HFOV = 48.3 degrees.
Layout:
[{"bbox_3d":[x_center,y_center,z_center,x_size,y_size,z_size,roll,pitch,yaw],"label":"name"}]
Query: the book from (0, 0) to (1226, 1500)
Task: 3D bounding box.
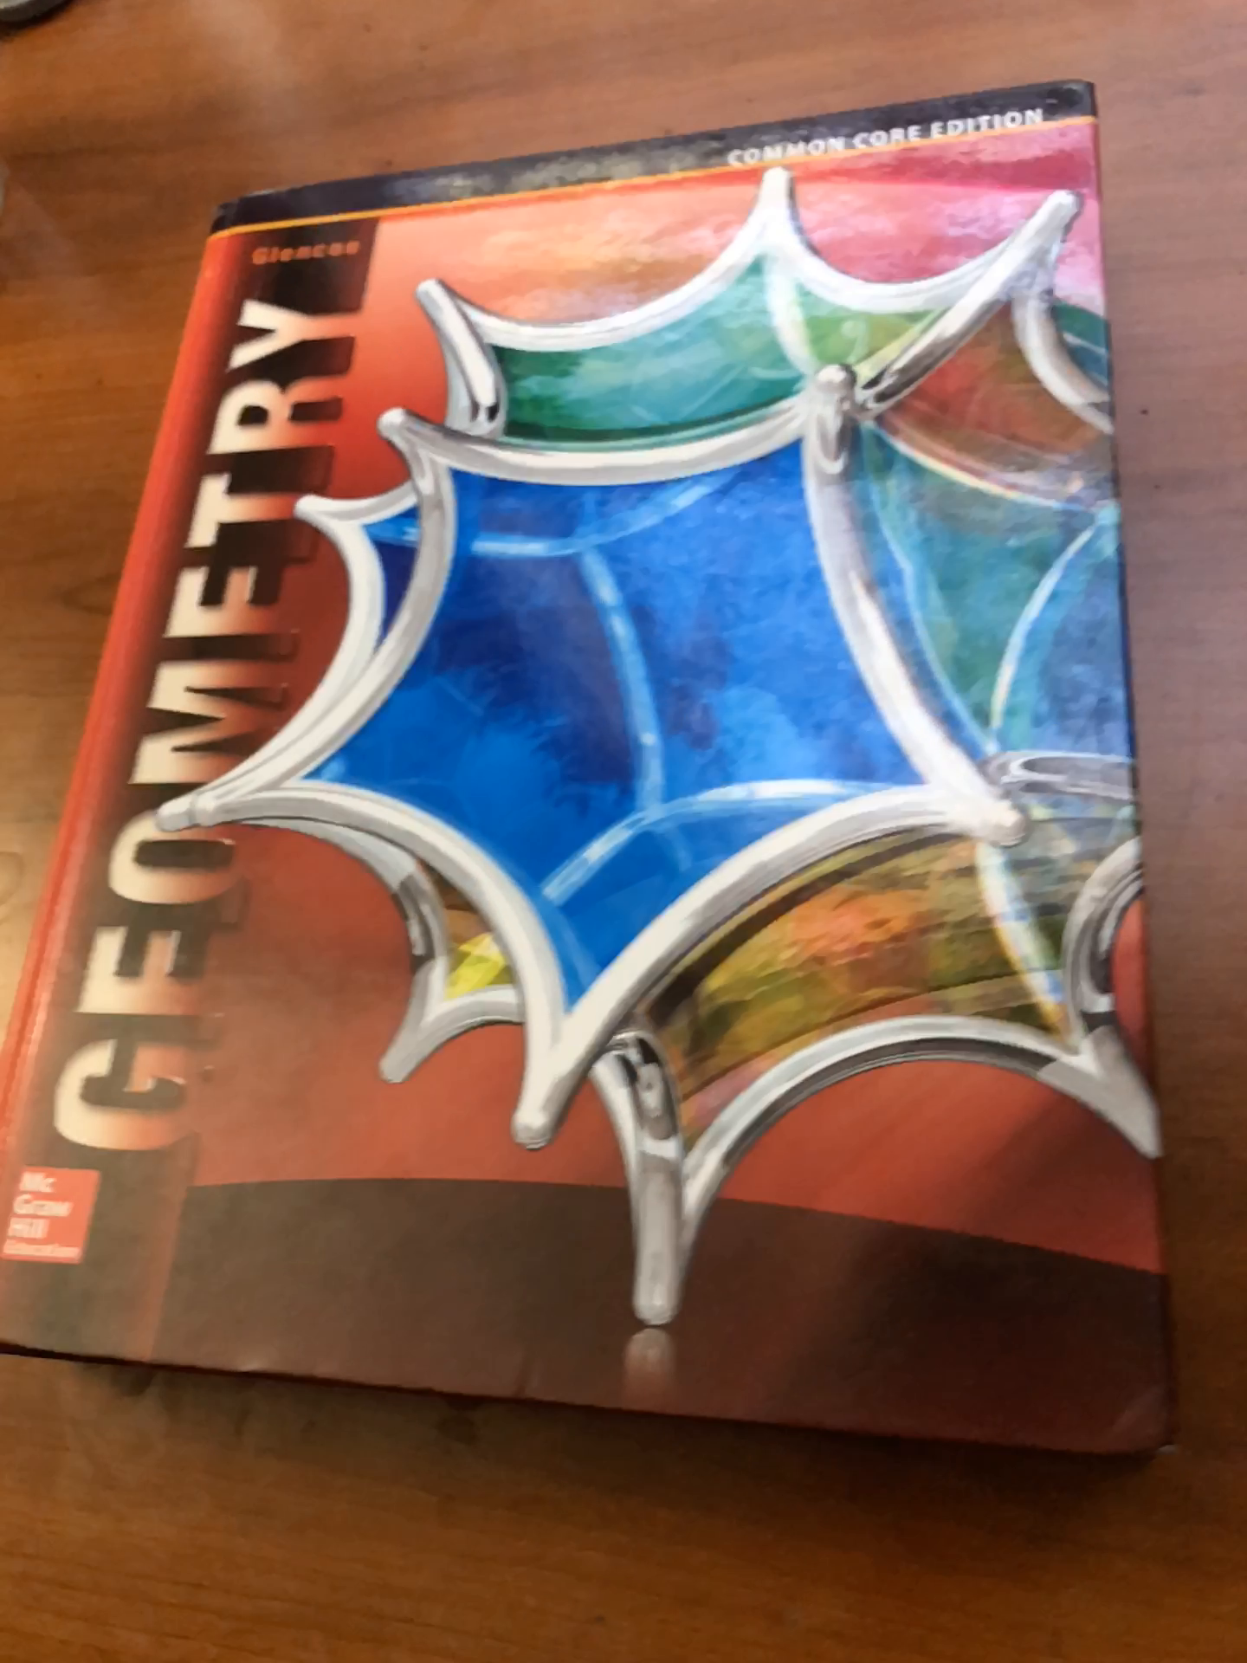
[{"bbox_3d":[-0.005,-0.037,0.309,0.229,0.050,0.311,0,66,14],"label":"book"}]
